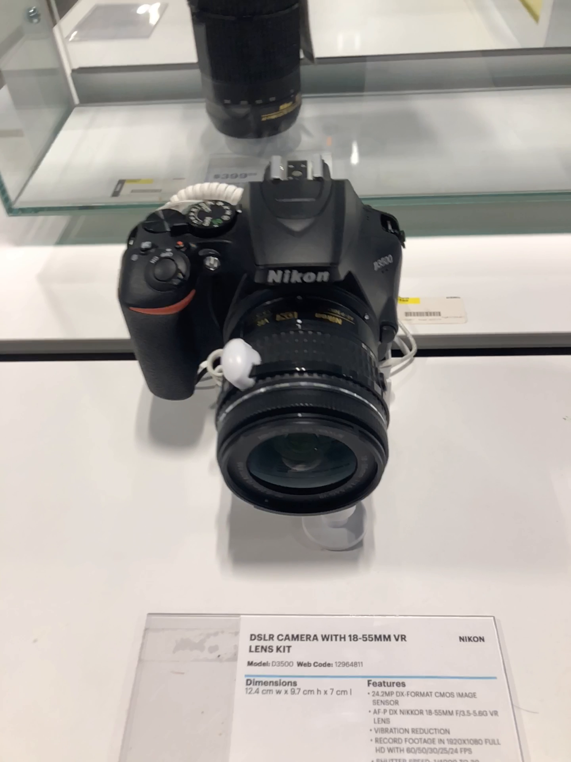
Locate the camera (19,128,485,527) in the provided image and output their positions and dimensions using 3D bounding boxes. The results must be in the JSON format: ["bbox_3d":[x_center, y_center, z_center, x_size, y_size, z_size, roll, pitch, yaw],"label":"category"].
[{"bbox_3d":[-0.008,-0.025,0.254,0.131,0.089,0.131,-3,46,2],"label":"camera"}]
